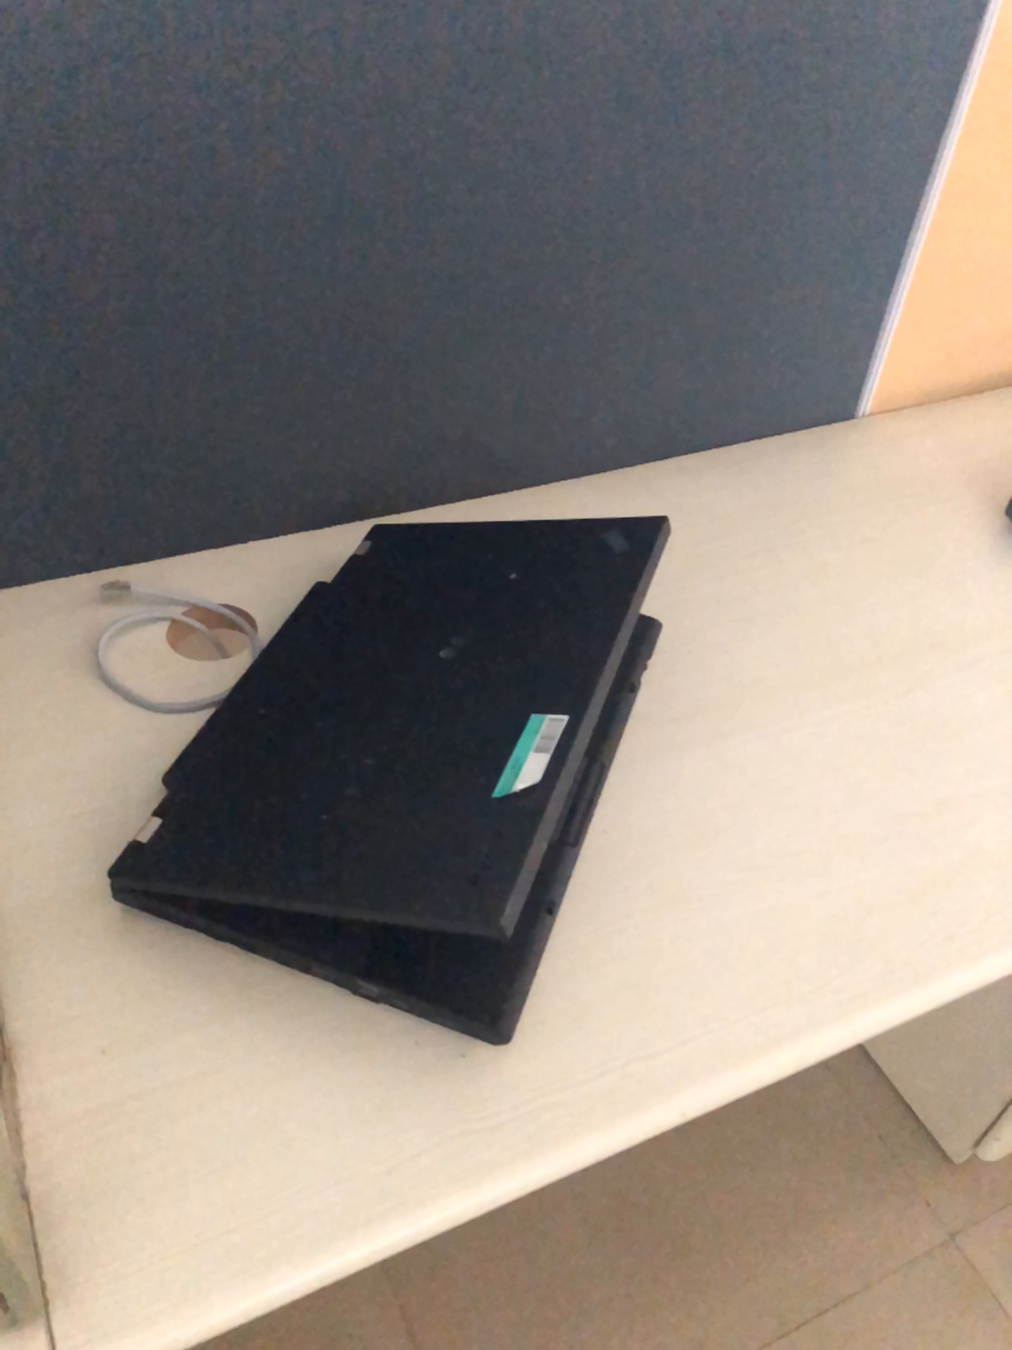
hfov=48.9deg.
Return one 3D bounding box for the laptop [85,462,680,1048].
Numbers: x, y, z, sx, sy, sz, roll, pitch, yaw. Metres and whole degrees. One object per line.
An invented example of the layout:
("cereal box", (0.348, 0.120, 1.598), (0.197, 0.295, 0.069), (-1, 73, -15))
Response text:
("laptop", (-0.048, 0.017, 0.699), (0.234, 0.077, 0.365), (16, 43, 10))
